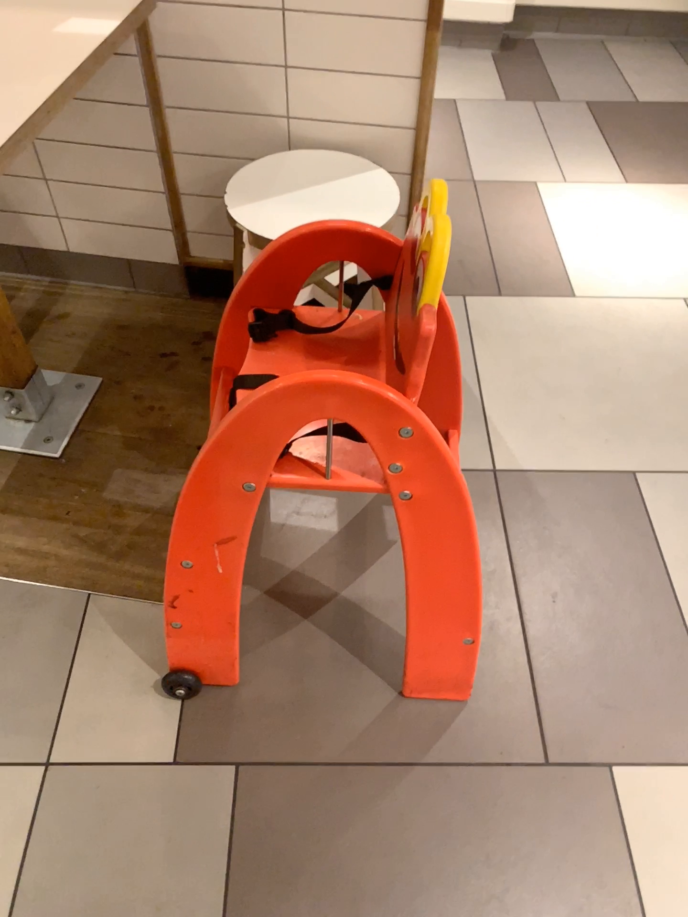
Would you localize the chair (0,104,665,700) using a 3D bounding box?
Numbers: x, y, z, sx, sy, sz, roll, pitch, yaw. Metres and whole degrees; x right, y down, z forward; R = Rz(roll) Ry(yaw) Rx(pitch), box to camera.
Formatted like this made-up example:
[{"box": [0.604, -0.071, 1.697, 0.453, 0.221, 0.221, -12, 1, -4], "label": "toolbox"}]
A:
[{"box": [-0.017, -0.055, 1.048, 0.580, 0.654, 0.585, 1, 50, -1], "label": "chair"}]

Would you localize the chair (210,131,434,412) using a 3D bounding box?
[{"box": [-0.041, -0.368, 1.441, 0.370, 0.446, 0.323, 1, 50, -1], "label": "chair"}]
